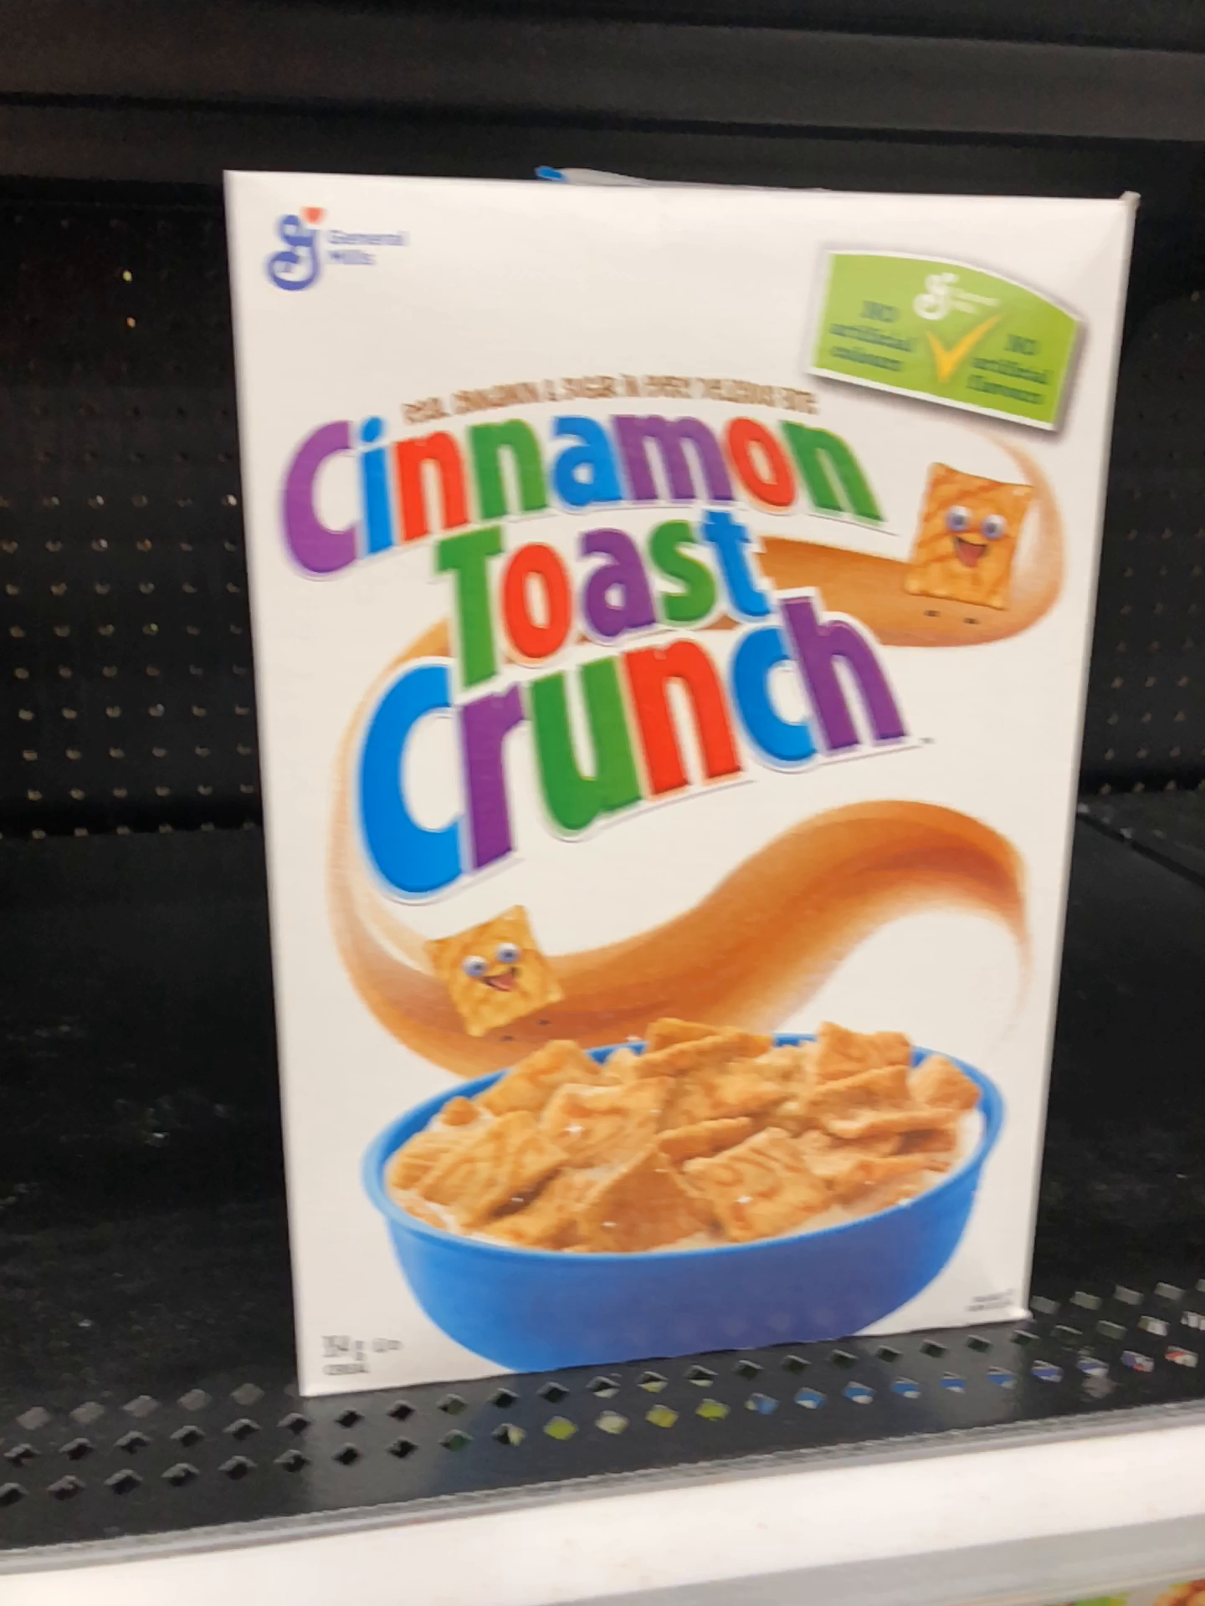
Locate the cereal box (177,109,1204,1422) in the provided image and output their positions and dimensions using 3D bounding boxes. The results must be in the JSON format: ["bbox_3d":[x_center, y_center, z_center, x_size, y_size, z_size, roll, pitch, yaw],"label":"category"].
[{"bbox_3d":[0.022,-0.002,0.316,0.210,0.279,0.050,-2,15,-9],"label":"cereal box"}]
